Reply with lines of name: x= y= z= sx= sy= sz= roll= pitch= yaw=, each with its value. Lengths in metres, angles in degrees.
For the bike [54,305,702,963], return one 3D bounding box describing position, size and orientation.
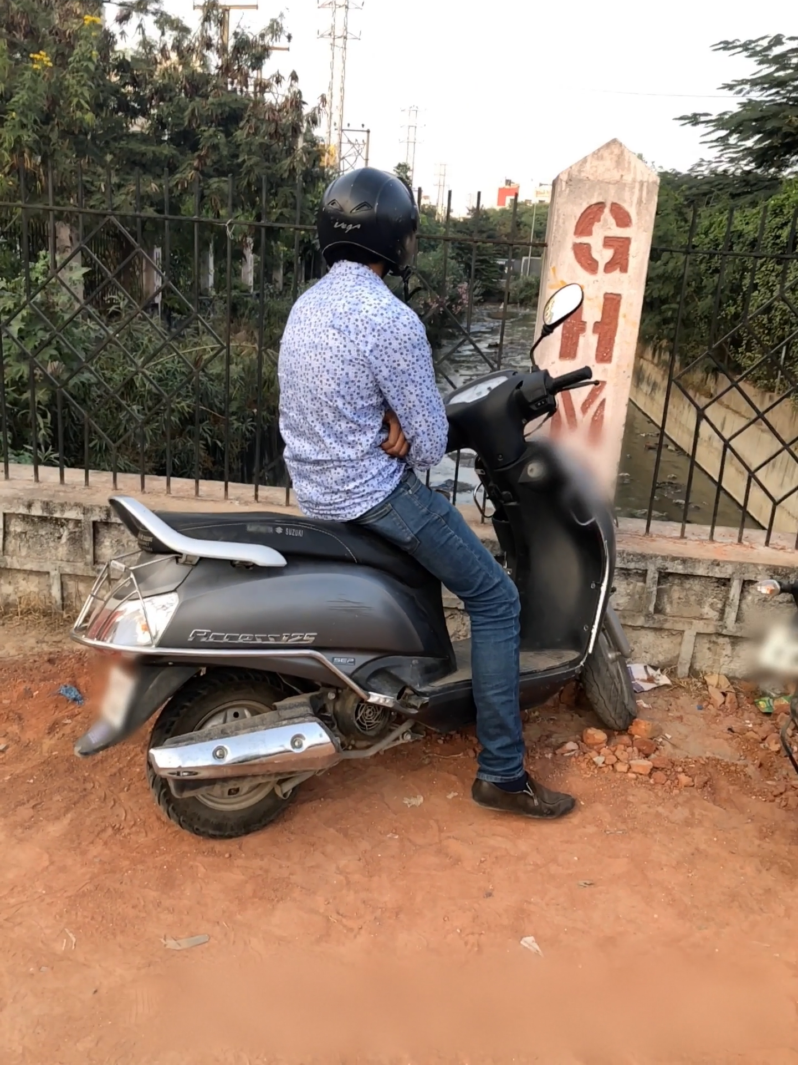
bike: x=-0.014 y=0.062 z=2.492 sx=1.582 sy=1.218 sz=0.798 roll=-15 pitch=25 yaw=-40
